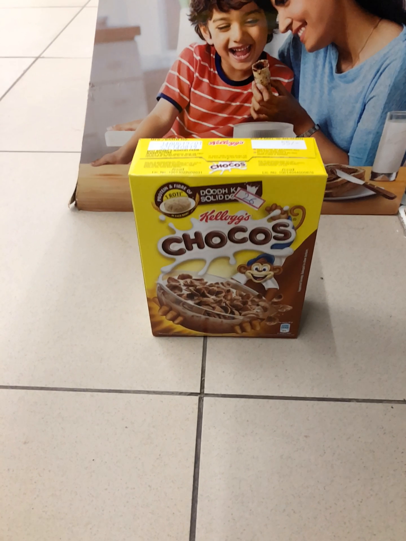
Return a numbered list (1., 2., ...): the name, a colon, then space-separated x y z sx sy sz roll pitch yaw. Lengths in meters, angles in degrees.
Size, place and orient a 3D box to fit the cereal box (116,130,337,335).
1. cereal box: 0.017 -0.022 0.361 0.140 0.169 0.050 0 44 2
